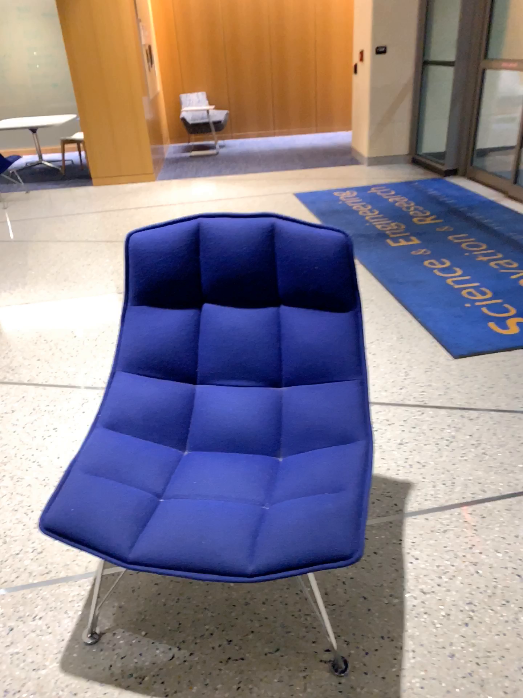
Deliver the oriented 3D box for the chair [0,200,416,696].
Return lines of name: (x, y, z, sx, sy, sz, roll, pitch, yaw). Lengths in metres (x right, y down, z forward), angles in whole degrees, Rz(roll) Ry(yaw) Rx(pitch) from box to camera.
chair: (-0.101, 0.171, 1.406, 0.854, 0.894, 0.800, 2, 30, 10)
